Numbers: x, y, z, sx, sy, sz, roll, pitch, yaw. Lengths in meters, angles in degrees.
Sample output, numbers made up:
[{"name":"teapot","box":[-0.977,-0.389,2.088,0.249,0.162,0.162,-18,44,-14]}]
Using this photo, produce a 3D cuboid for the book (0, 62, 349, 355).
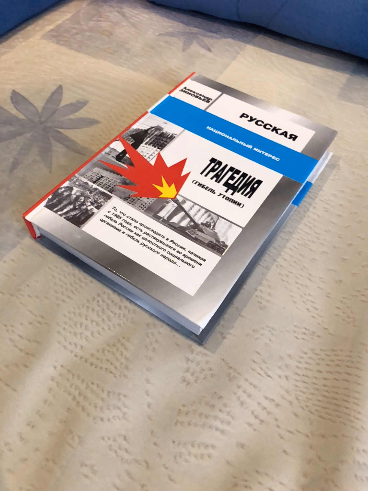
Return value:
[{"name":"book","box":[0.003,-0.049,0.303,0.160,0.040,0.201,29,58,20]}]
